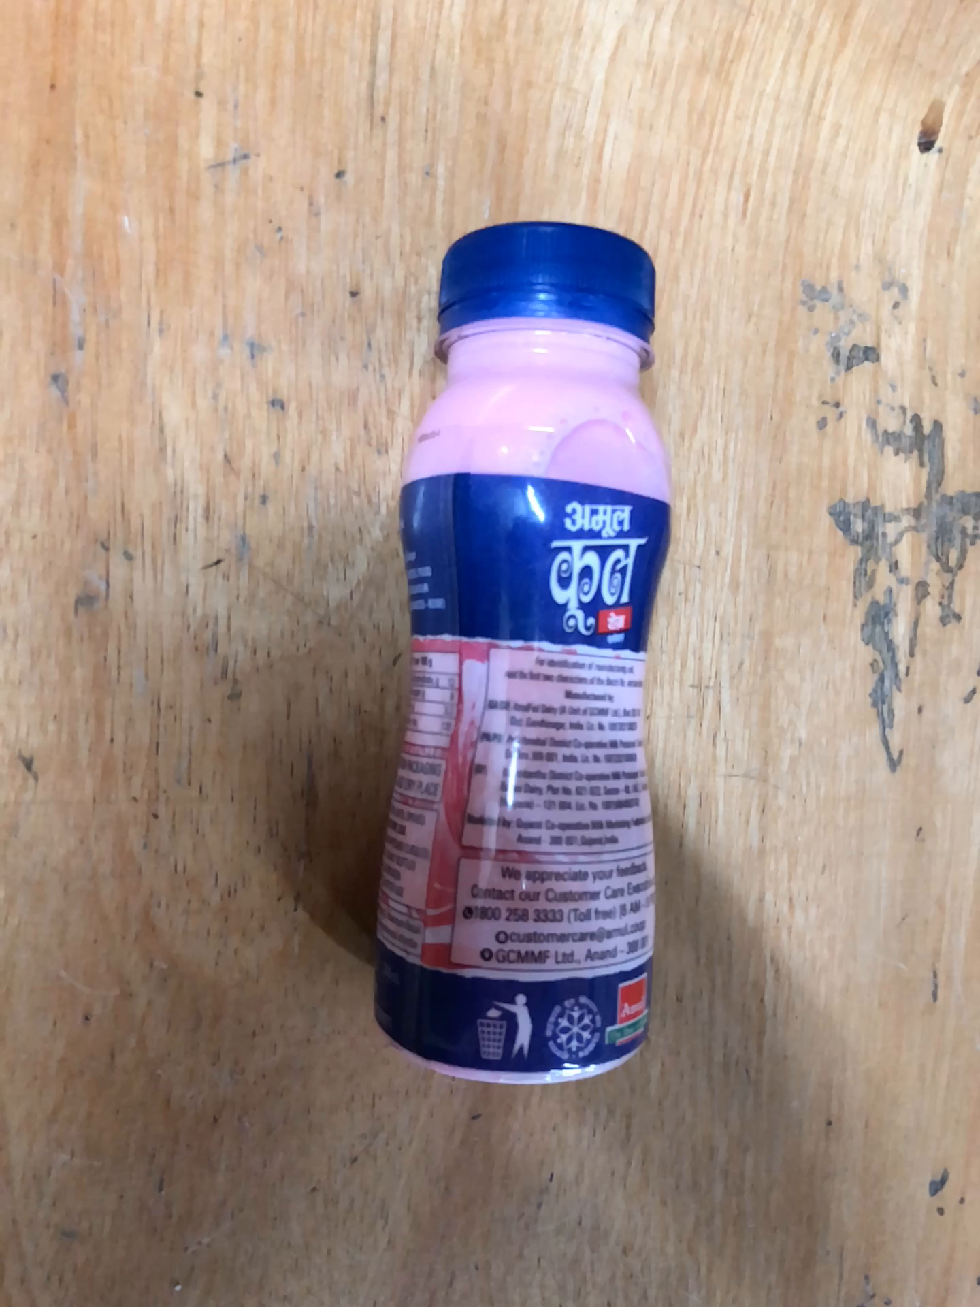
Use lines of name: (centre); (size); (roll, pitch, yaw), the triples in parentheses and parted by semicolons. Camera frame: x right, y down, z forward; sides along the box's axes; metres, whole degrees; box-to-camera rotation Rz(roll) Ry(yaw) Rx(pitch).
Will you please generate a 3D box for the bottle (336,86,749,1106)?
bottle: (0.008, -0.008, 0.190); (0.050, 0.040, 0.150); (2, 93, -30)
